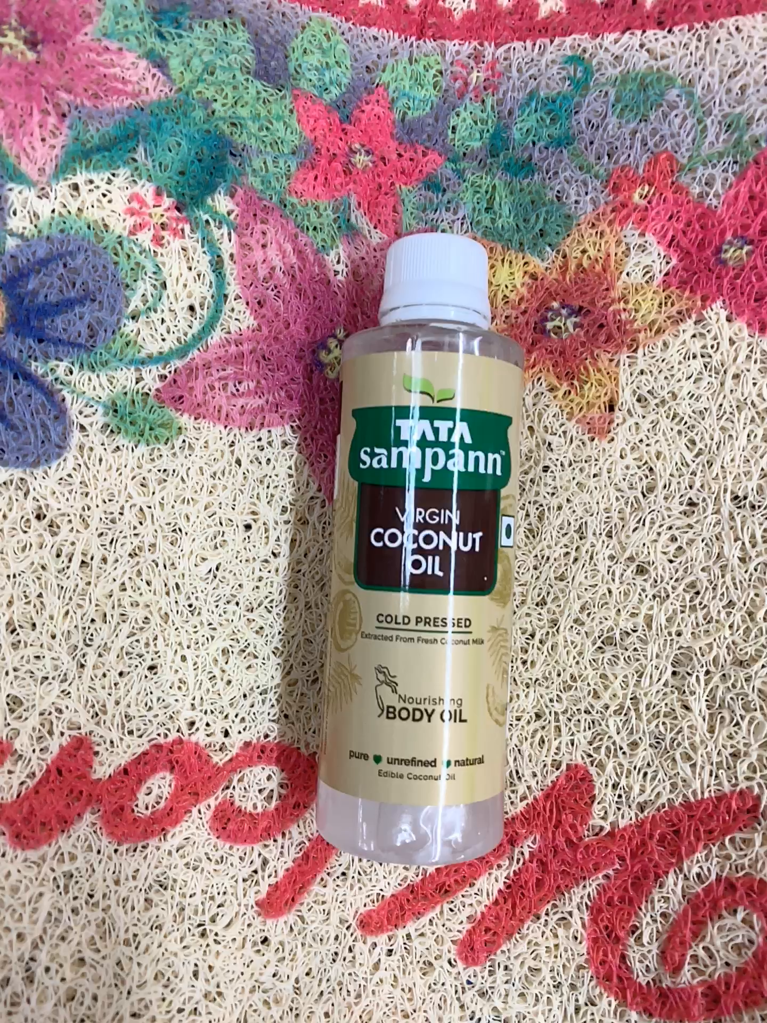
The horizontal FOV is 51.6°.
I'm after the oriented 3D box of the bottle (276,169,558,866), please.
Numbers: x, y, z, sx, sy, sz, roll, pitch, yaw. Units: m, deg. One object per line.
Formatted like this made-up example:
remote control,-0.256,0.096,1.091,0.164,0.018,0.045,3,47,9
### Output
bottle,0.006,0.002,0.178,0.050,0.030,0.140,4,89,-8
